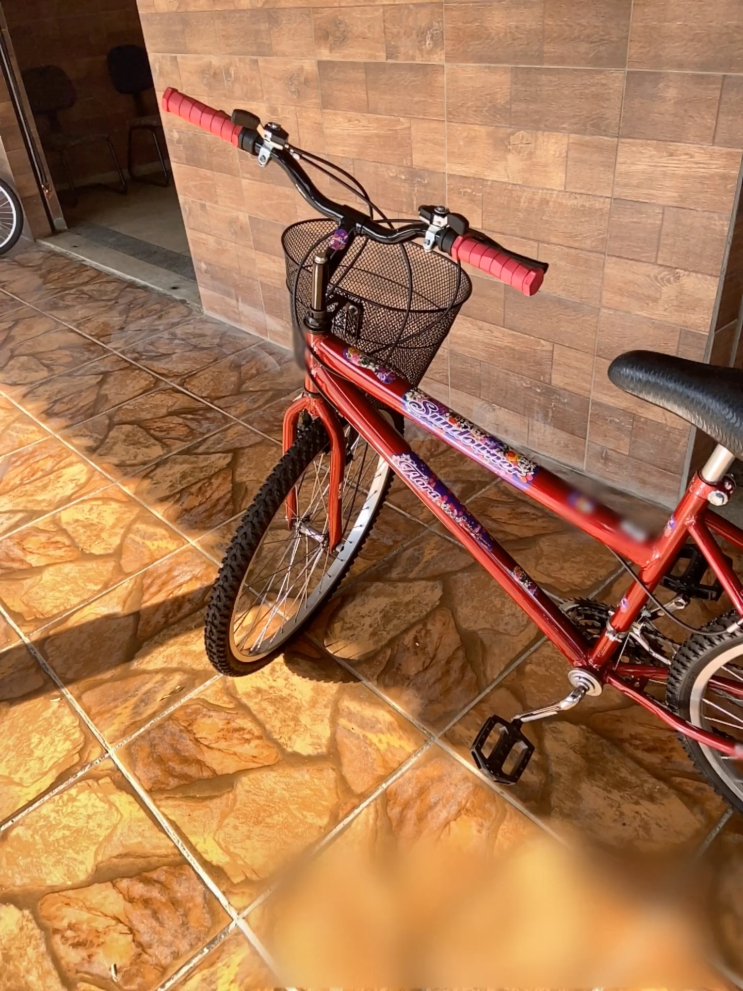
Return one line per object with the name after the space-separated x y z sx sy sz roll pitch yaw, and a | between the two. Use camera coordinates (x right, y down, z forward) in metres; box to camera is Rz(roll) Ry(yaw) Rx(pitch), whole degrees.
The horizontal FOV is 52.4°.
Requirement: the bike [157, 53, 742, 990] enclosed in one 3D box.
0.374 0.049 1.048 0.551 1.080 1.413 -29 40 -30 | bike
